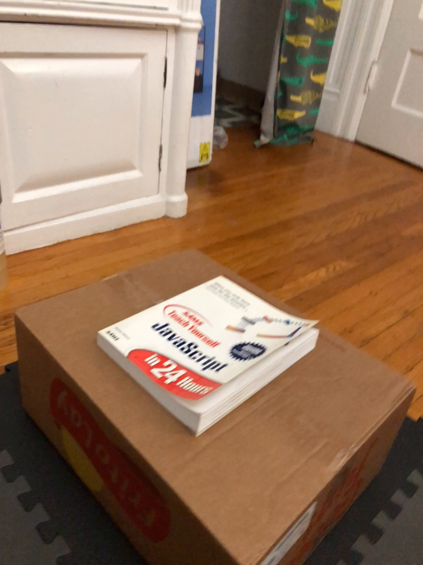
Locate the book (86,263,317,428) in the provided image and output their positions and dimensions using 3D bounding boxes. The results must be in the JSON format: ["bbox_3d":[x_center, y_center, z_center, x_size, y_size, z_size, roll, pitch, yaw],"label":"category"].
[{"bbox_3d":[-0.008,0.063,0.629,0.200,0.030,0.241,31,38,32],"label":"book"}]
